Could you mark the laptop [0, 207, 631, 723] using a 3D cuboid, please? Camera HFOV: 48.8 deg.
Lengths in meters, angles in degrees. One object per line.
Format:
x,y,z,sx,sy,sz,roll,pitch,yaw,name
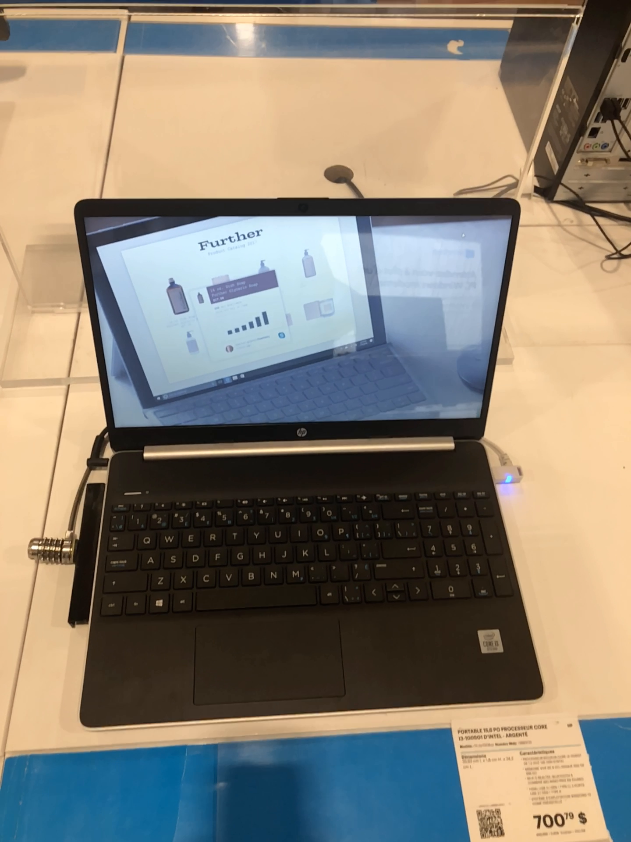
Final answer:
-0.003,0.022,0.540,0.346,0.196,0.334,-2,55,-5,laptop
